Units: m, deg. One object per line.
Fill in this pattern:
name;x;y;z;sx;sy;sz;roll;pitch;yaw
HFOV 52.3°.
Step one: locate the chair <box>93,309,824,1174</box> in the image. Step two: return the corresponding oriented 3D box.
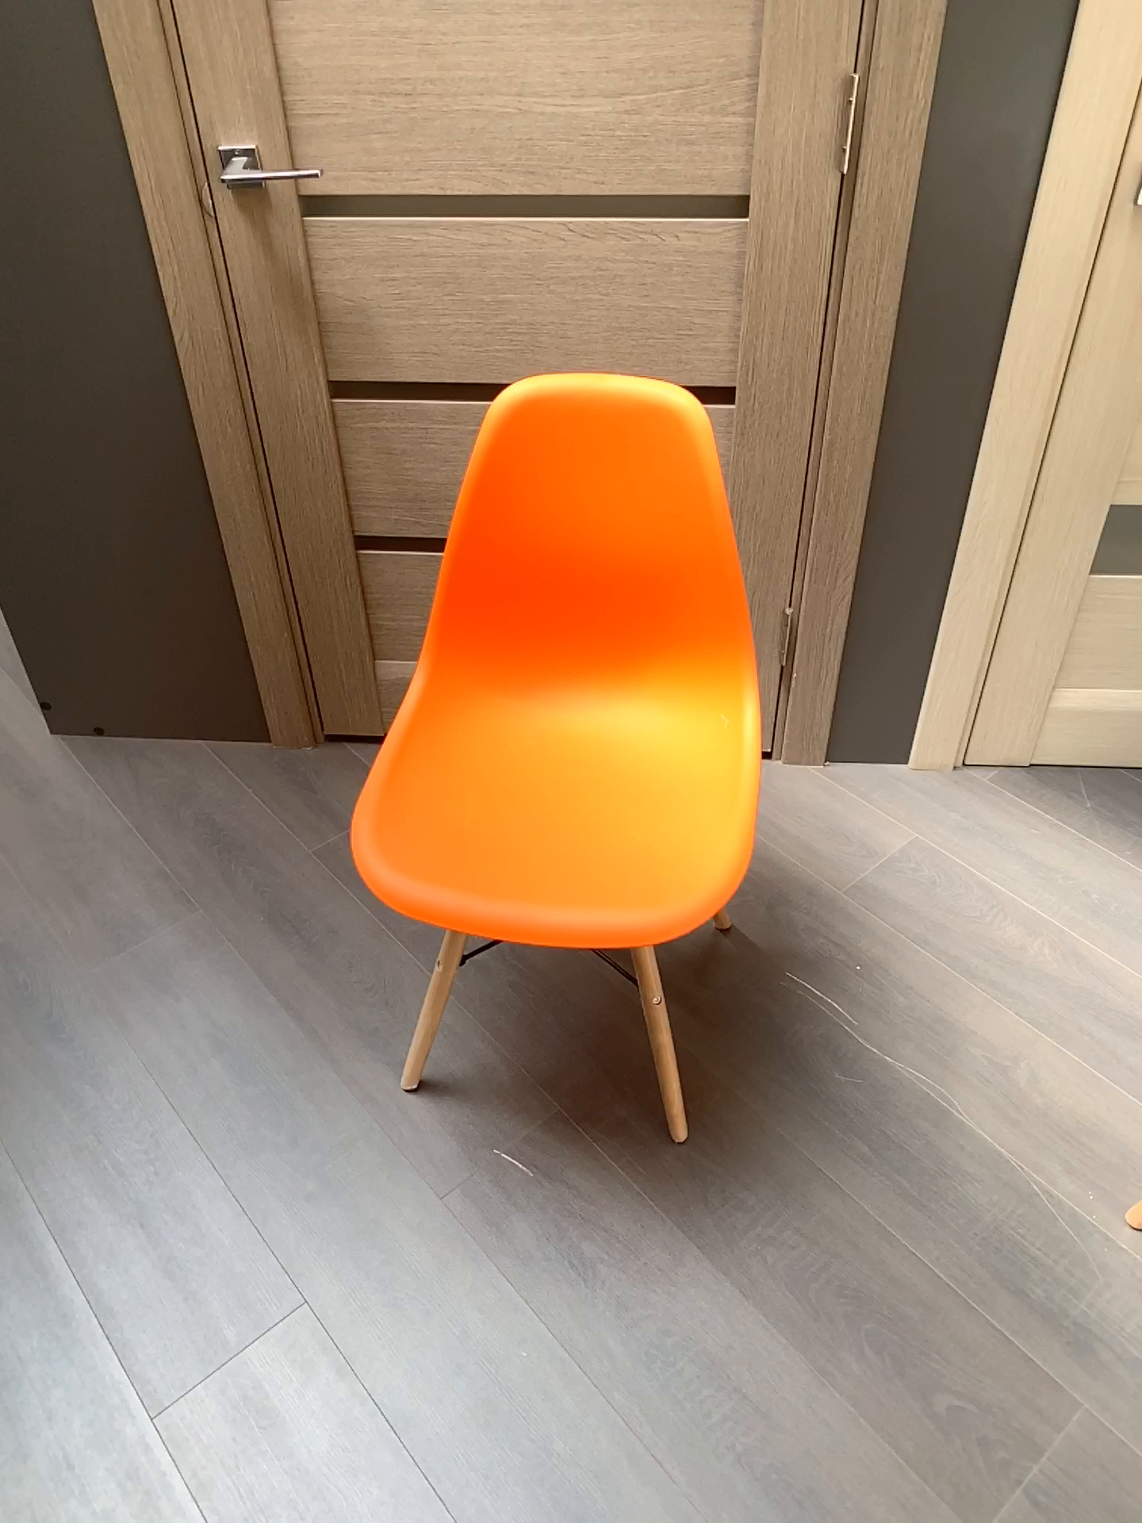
chair;-0.043;-0.023;1.257;0.530;0.716;0.522;6;41;9
